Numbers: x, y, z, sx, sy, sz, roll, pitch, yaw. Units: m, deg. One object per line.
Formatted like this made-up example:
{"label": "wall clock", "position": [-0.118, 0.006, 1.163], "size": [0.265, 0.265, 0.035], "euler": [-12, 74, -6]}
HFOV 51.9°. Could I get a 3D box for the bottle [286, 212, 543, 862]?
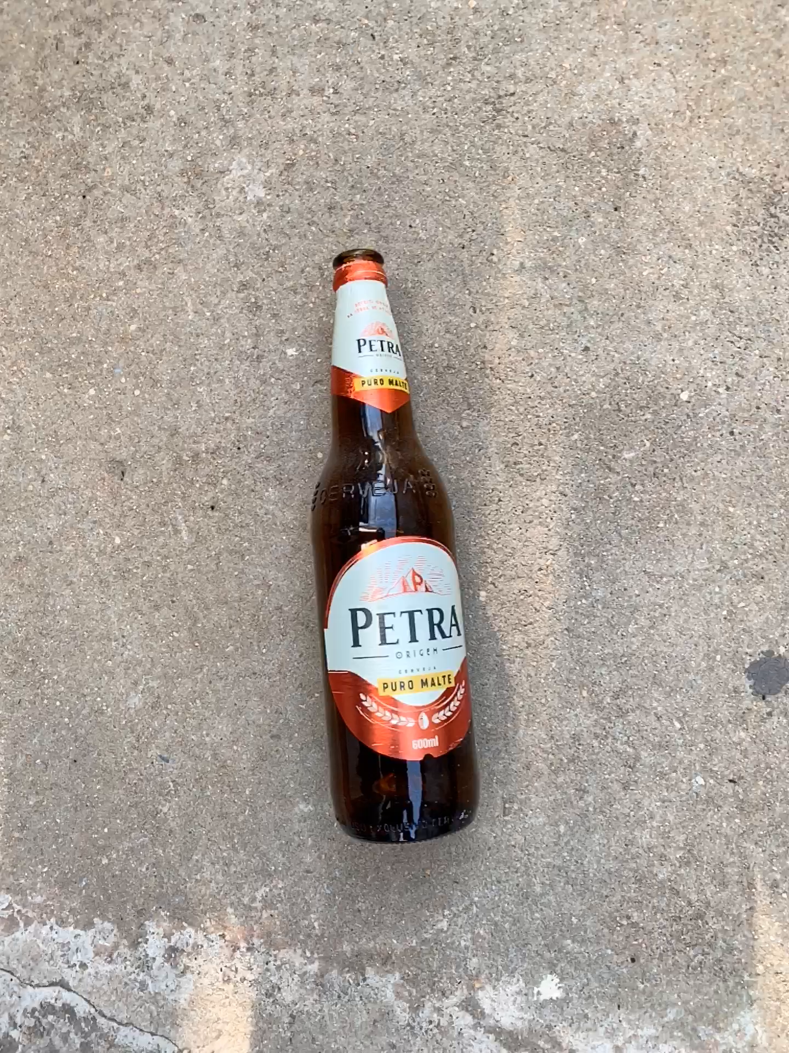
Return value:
{"label": "bottle", "position": [0.003, 0.002, 0.379], "size": [0.080, 0.070, 0.270], "euler": [-1, 80, -21]}
